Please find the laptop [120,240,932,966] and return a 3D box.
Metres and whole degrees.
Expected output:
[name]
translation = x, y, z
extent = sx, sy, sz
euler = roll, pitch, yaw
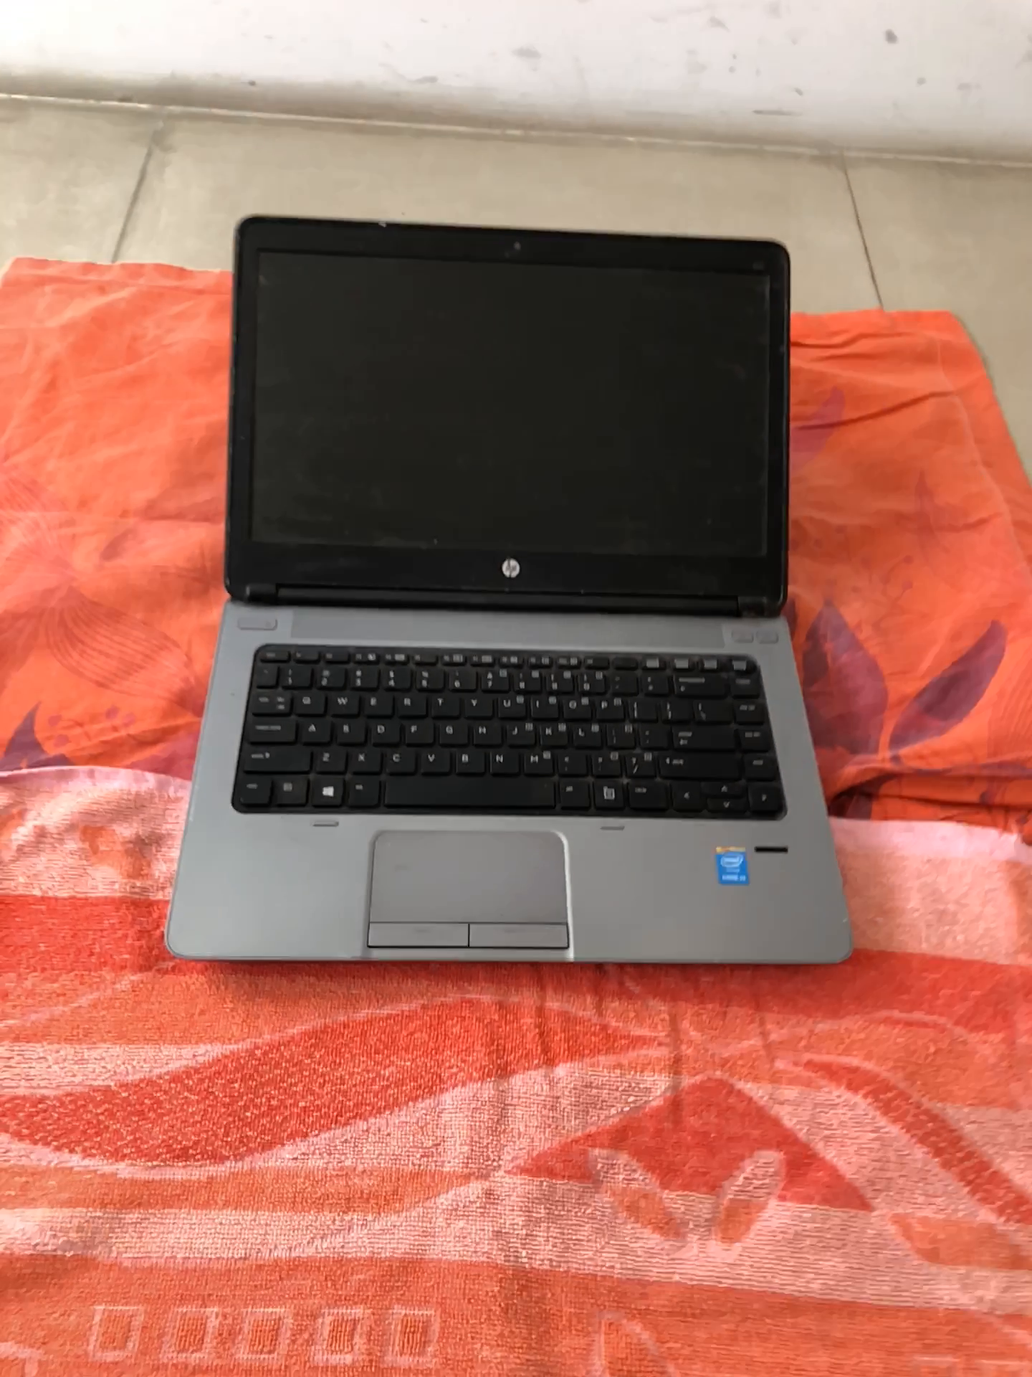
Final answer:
[laptop]
translation = 0.002, -0.066, 0.625
extent = 0.328, 0.111, 0.412
euler = 2, 54, -4
